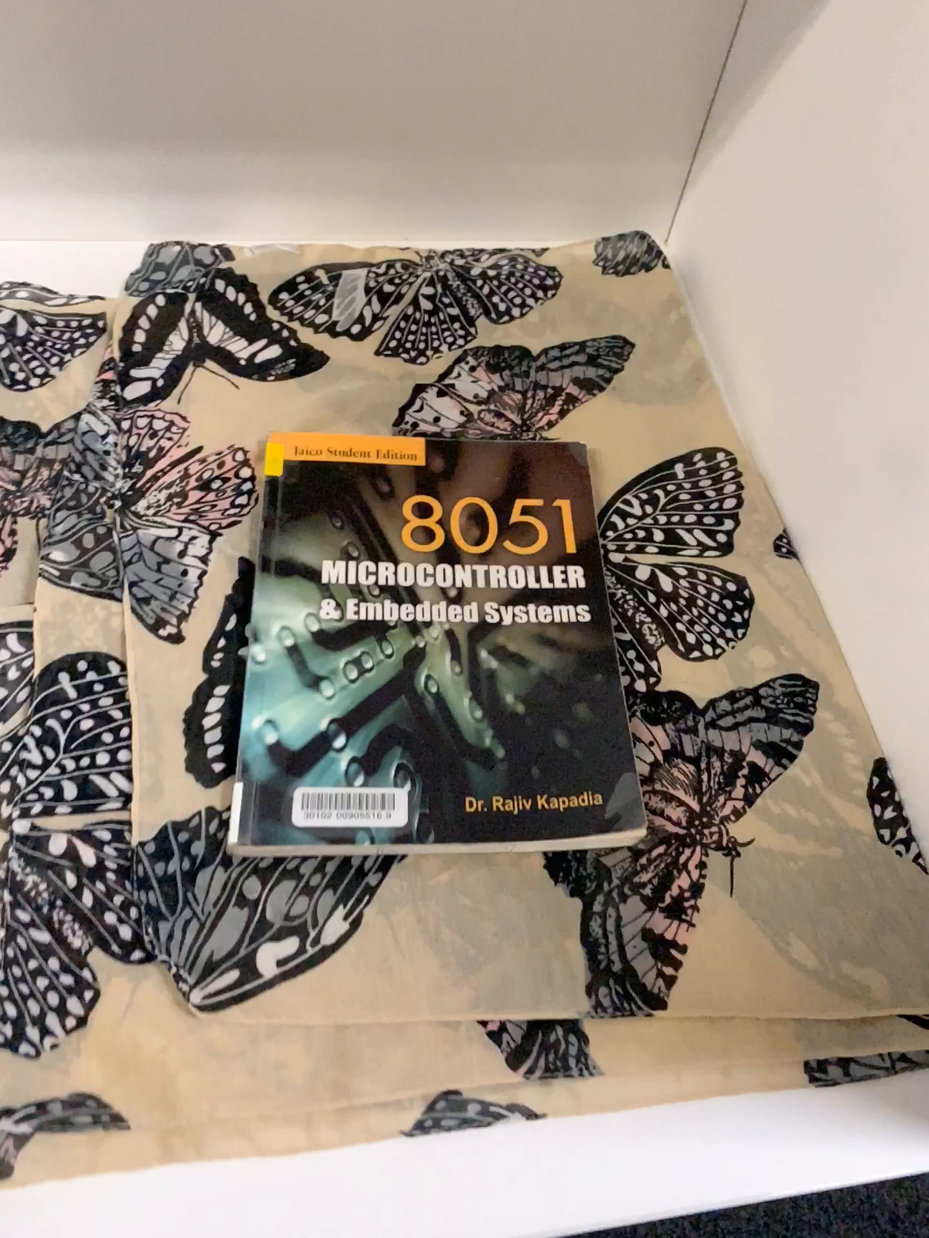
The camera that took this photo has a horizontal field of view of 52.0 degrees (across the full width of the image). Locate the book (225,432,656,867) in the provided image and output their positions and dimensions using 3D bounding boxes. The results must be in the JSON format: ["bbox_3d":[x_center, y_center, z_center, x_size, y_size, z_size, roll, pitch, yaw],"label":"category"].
[{"bbox_3d":[-0.014,0.004,0.476,0.183,0.020,0.237,1,57,-6],"label":"book"}]
